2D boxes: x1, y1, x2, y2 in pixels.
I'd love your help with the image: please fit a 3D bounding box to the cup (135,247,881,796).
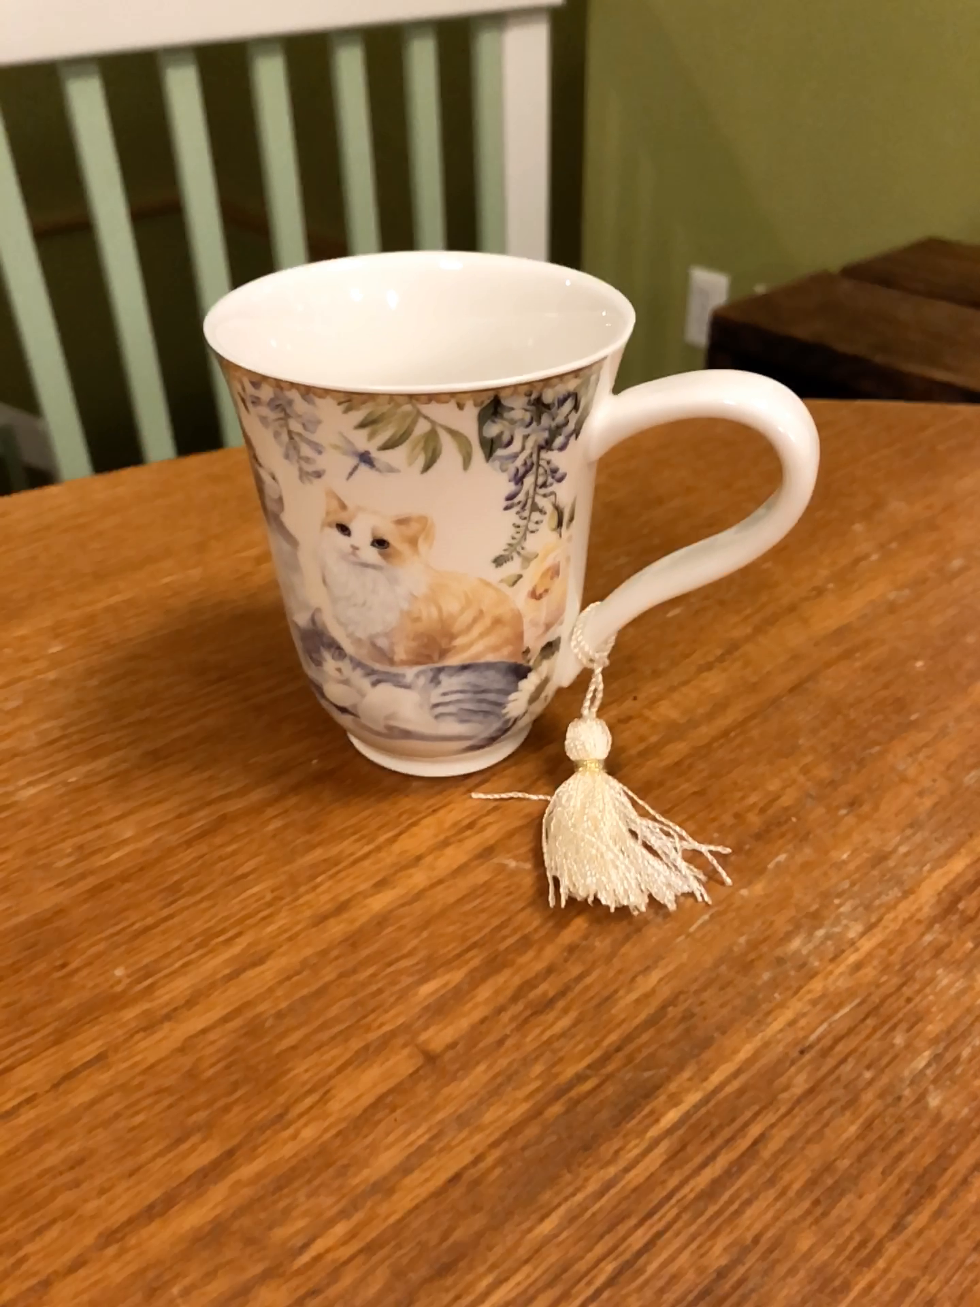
[{"bbox_3d":[0.007,-0.036,0.261,0.135,0.092,0.095,3,35,6],"label":"cup"}]
